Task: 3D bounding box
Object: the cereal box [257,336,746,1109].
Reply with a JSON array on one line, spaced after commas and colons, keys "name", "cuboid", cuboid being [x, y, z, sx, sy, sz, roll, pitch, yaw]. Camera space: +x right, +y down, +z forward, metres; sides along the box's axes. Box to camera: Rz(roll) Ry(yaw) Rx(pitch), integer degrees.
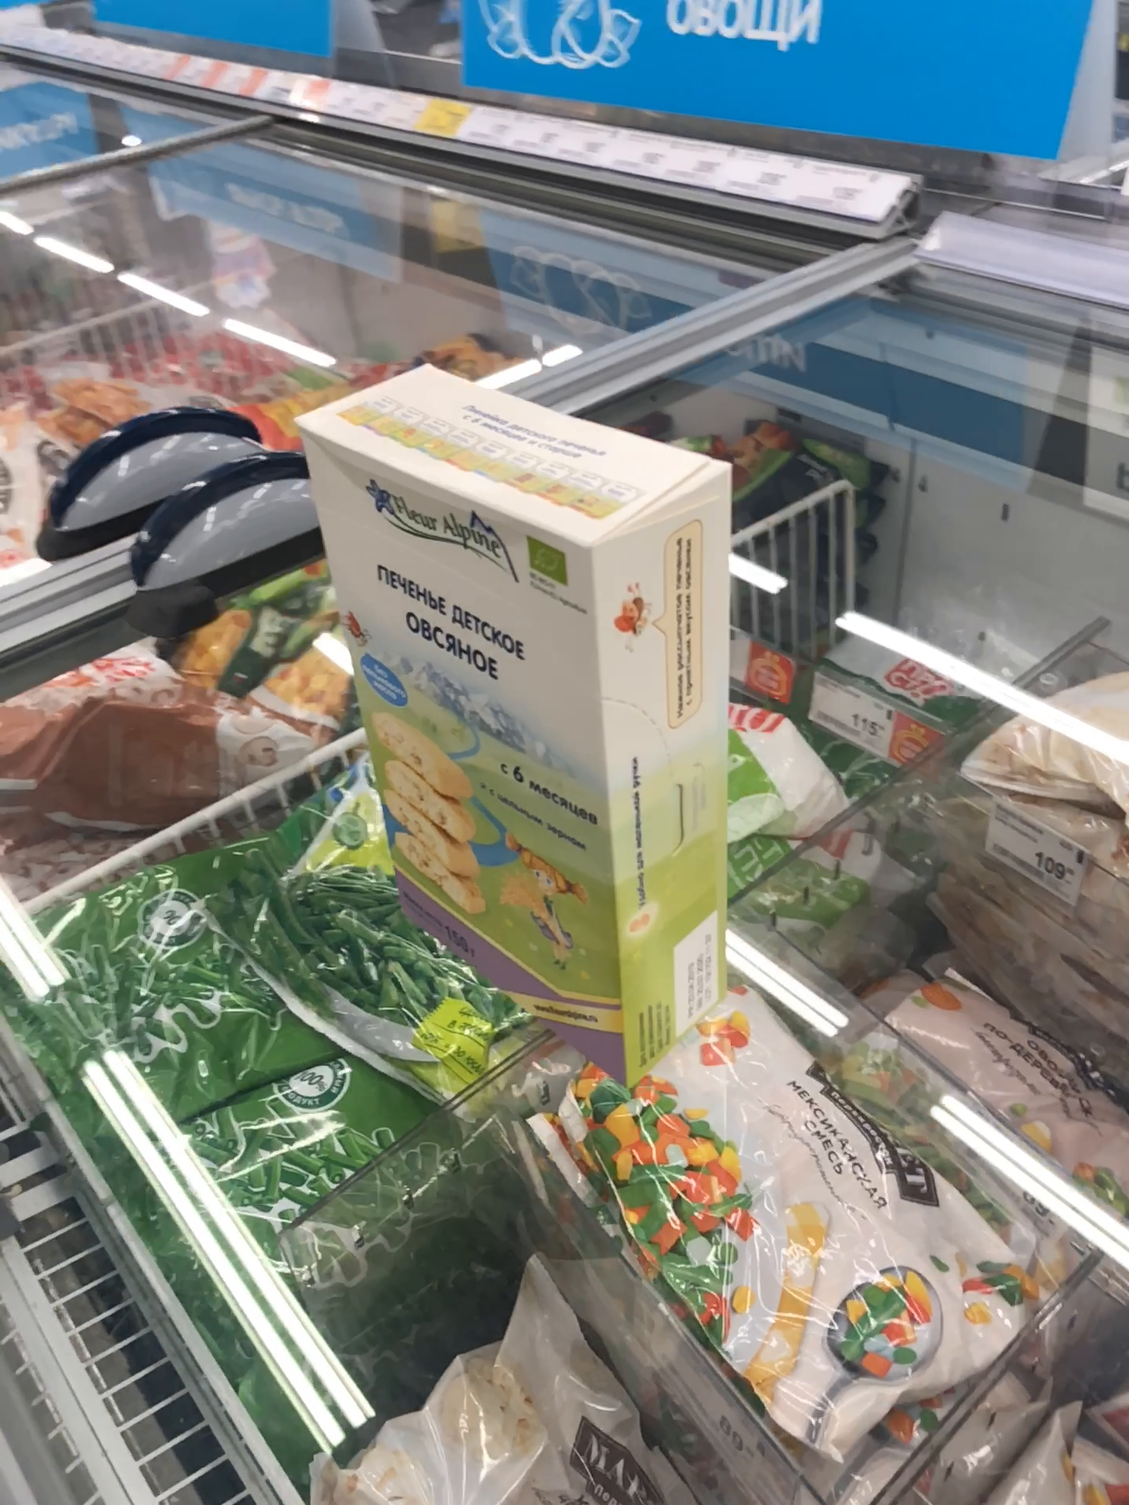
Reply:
[{"name": "cereal box", "cuboid": [-0.012, -0.006, 0.355, 0.050, 0.189, 0.120, -34, 46, -31]}]
